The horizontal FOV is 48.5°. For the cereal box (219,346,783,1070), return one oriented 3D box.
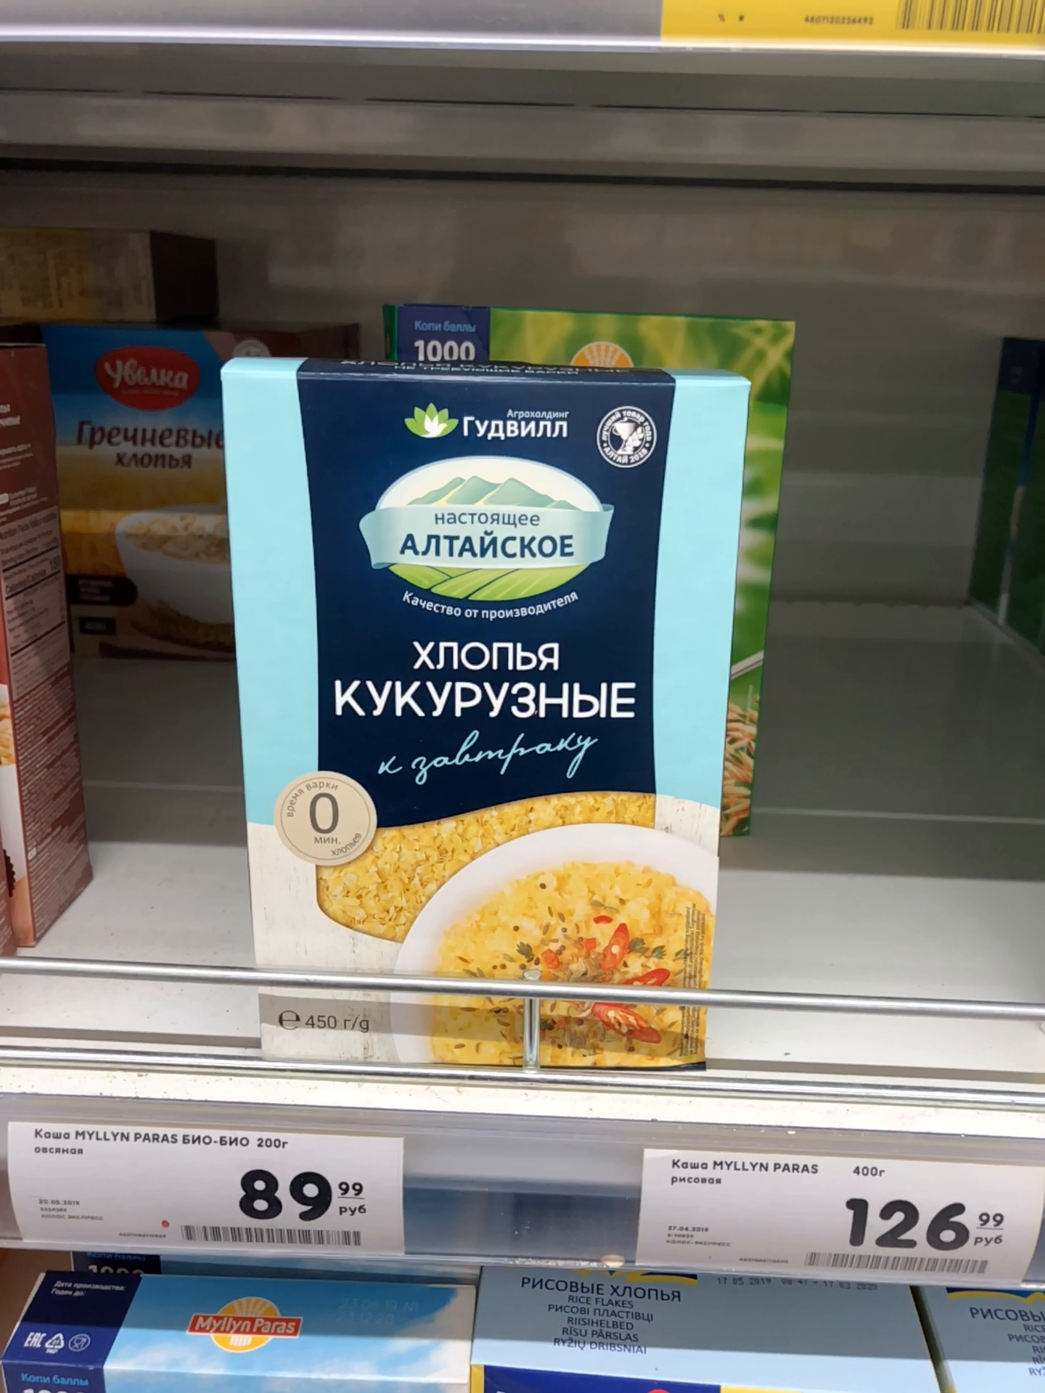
[{"bbox_3d":[-0.007,0.003,0.324,0.130,0.189,0.060,1,17,0],"label":"cereal box"}]
